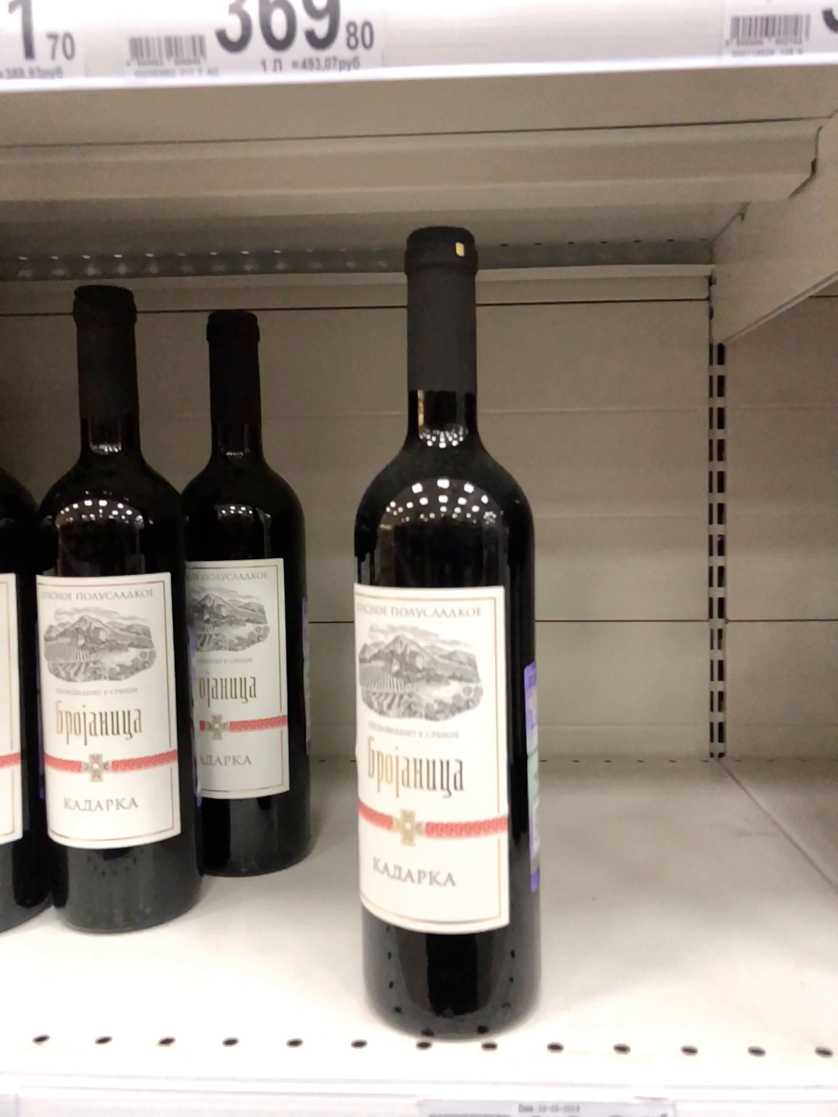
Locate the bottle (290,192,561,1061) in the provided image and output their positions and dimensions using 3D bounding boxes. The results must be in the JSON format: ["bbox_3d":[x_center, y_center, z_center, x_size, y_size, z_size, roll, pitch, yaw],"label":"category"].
[{"bbox_3d":[0.007,0.025,0.379,0.080,0.309,0.080,-1,3,0],"label":"bottle"}]
